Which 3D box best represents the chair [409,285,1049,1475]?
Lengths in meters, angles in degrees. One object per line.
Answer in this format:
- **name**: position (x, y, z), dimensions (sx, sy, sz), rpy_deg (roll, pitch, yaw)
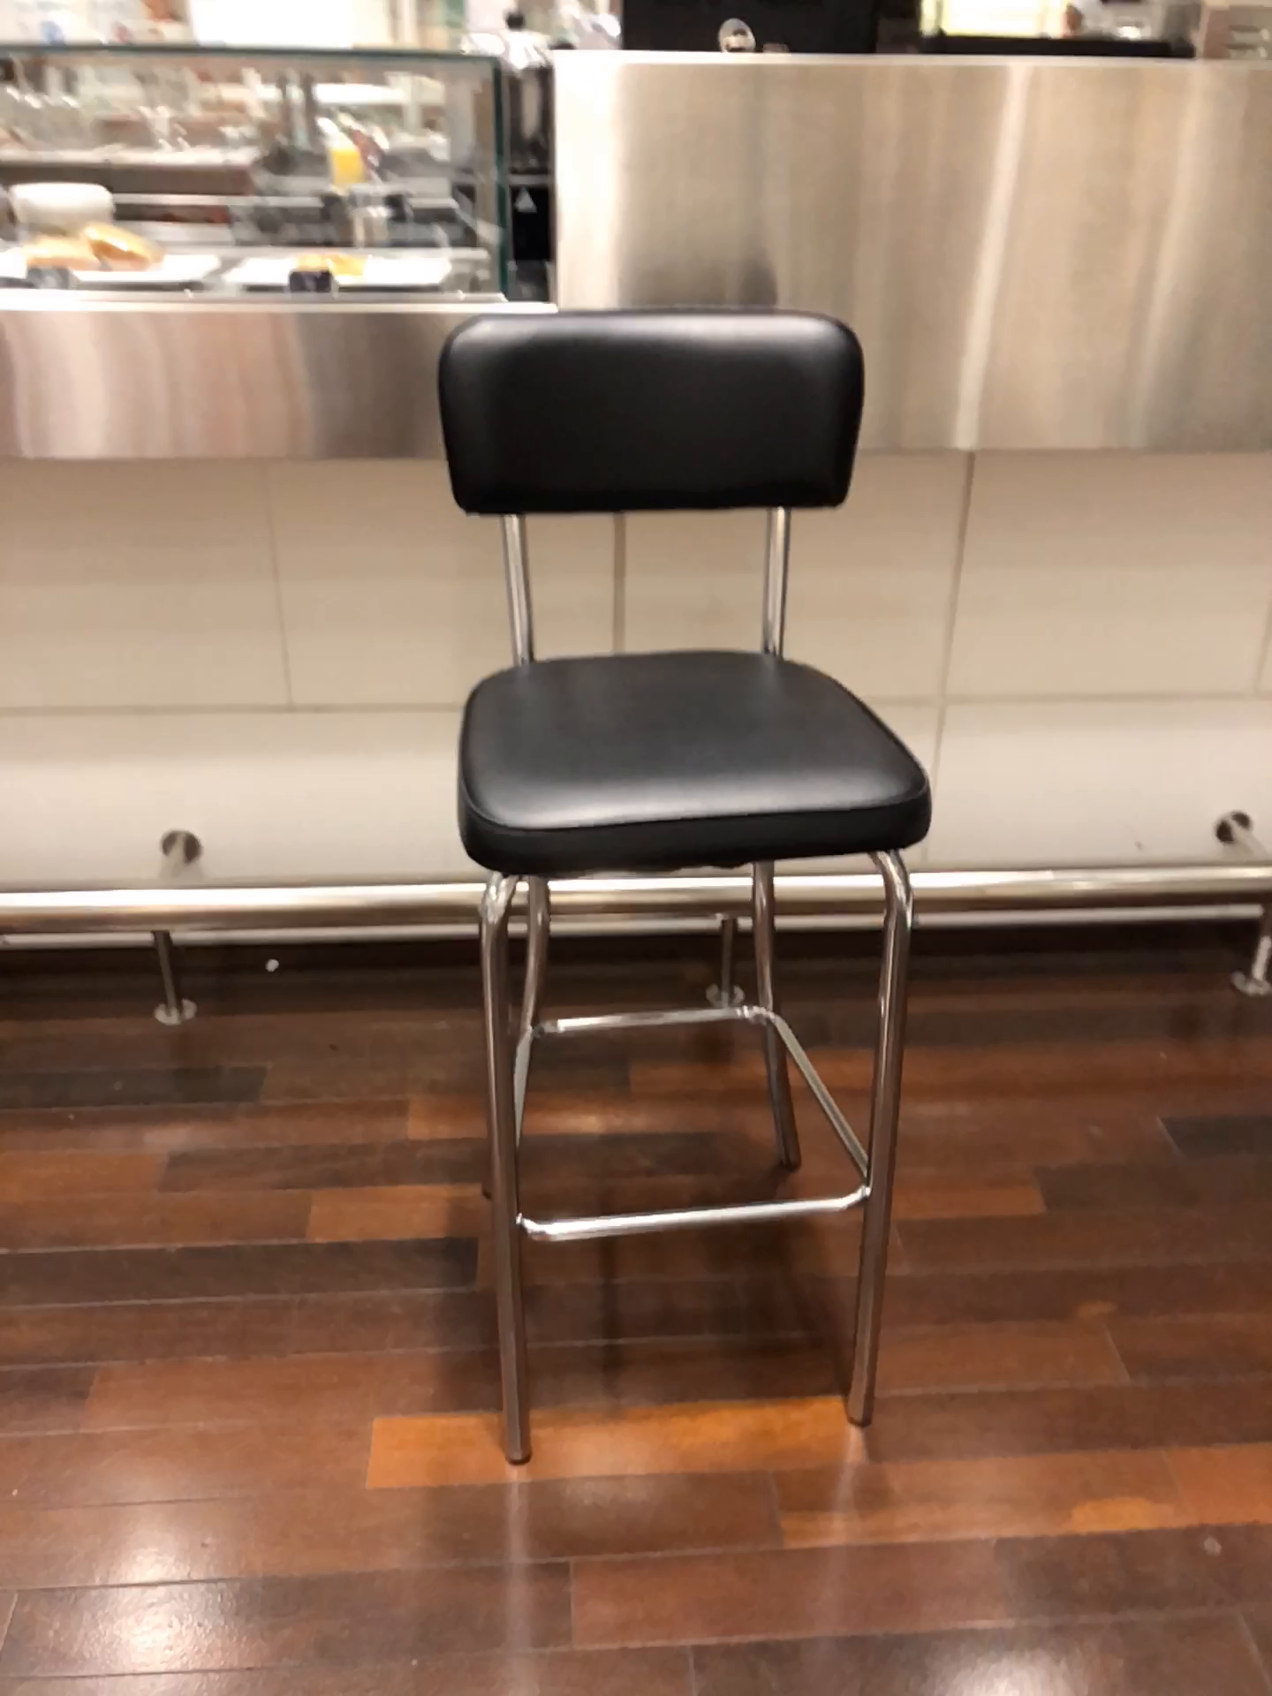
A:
- **chair**: position (0.029, 0.031, 1.344), dimensions (0.420, 1.013, 0.473), rpy_deg (-3, 28, -7)
